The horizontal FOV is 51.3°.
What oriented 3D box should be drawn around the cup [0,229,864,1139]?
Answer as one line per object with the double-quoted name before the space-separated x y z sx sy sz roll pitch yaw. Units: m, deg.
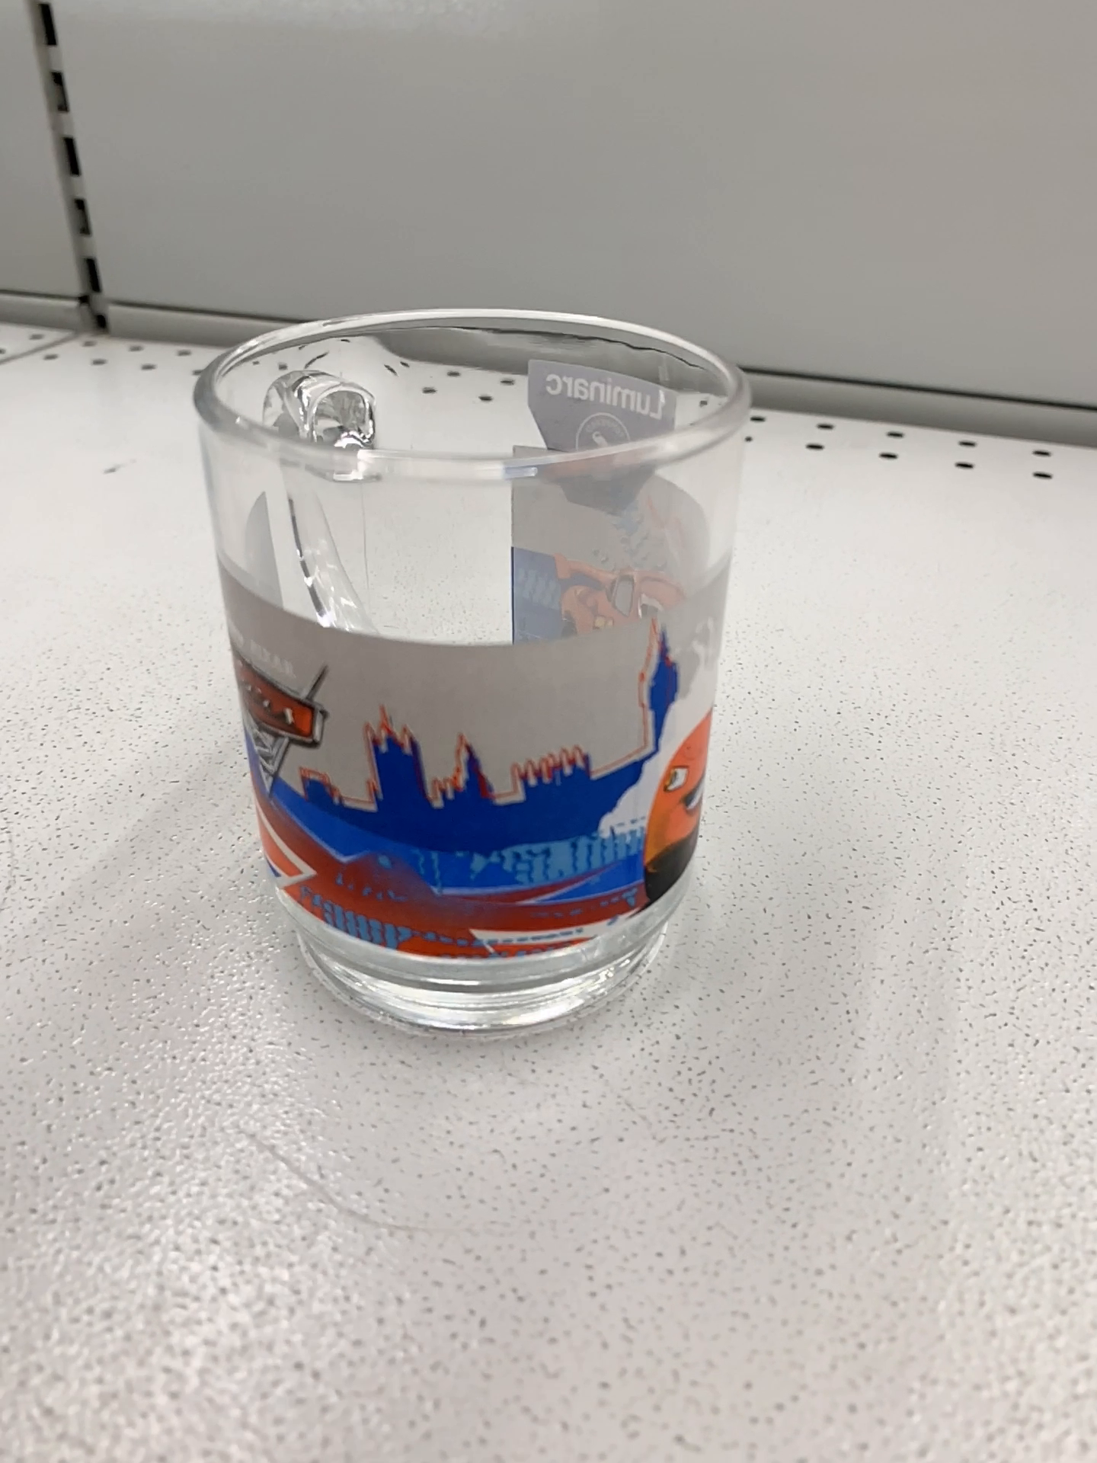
"cup" -0.024 -0.020 0.176 0.071 0.087 0.108 -22 38 -32
